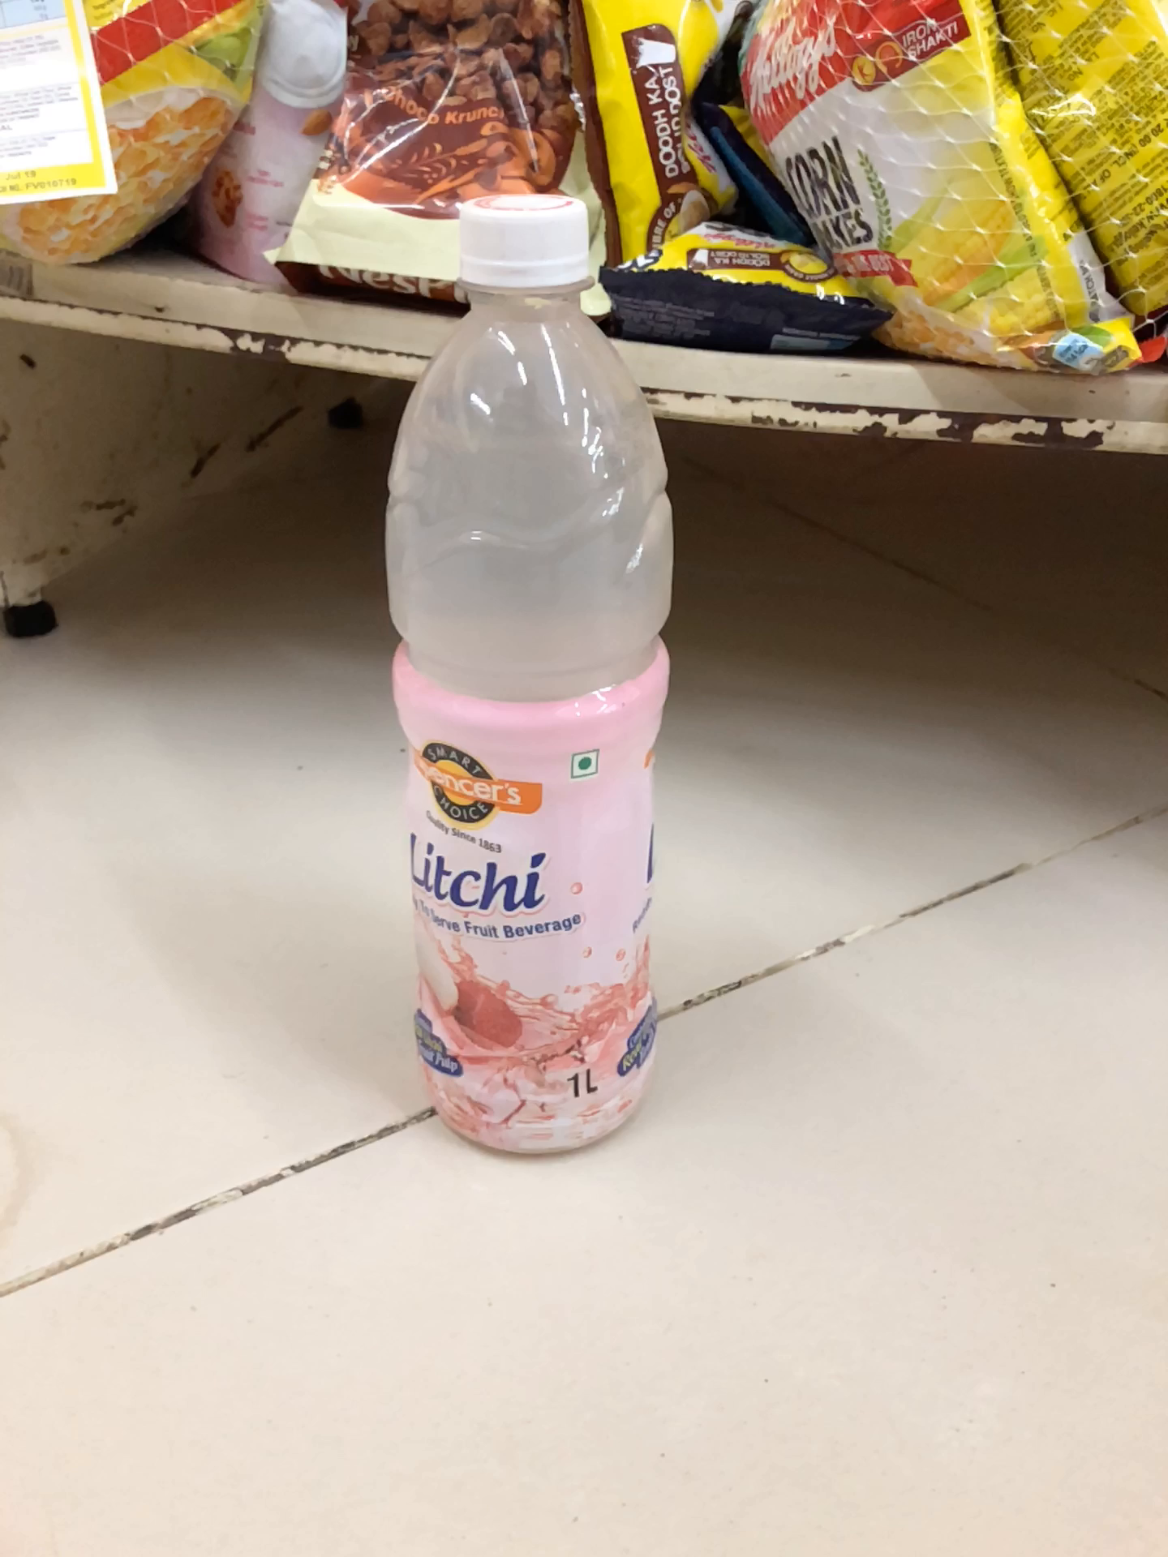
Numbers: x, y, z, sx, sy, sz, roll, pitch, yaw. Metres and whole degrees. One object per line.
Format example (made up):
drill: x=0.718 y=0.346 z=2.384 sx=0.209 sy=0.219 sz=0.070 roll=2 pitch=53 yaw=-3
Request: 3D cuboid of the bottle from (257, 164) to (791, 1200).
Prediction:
bottle: x=-0.012 y=-0.019 z=0.331 sx=0.080 sy=0.238 sz=0.081 roll=1 pitch=31 yaw=0
